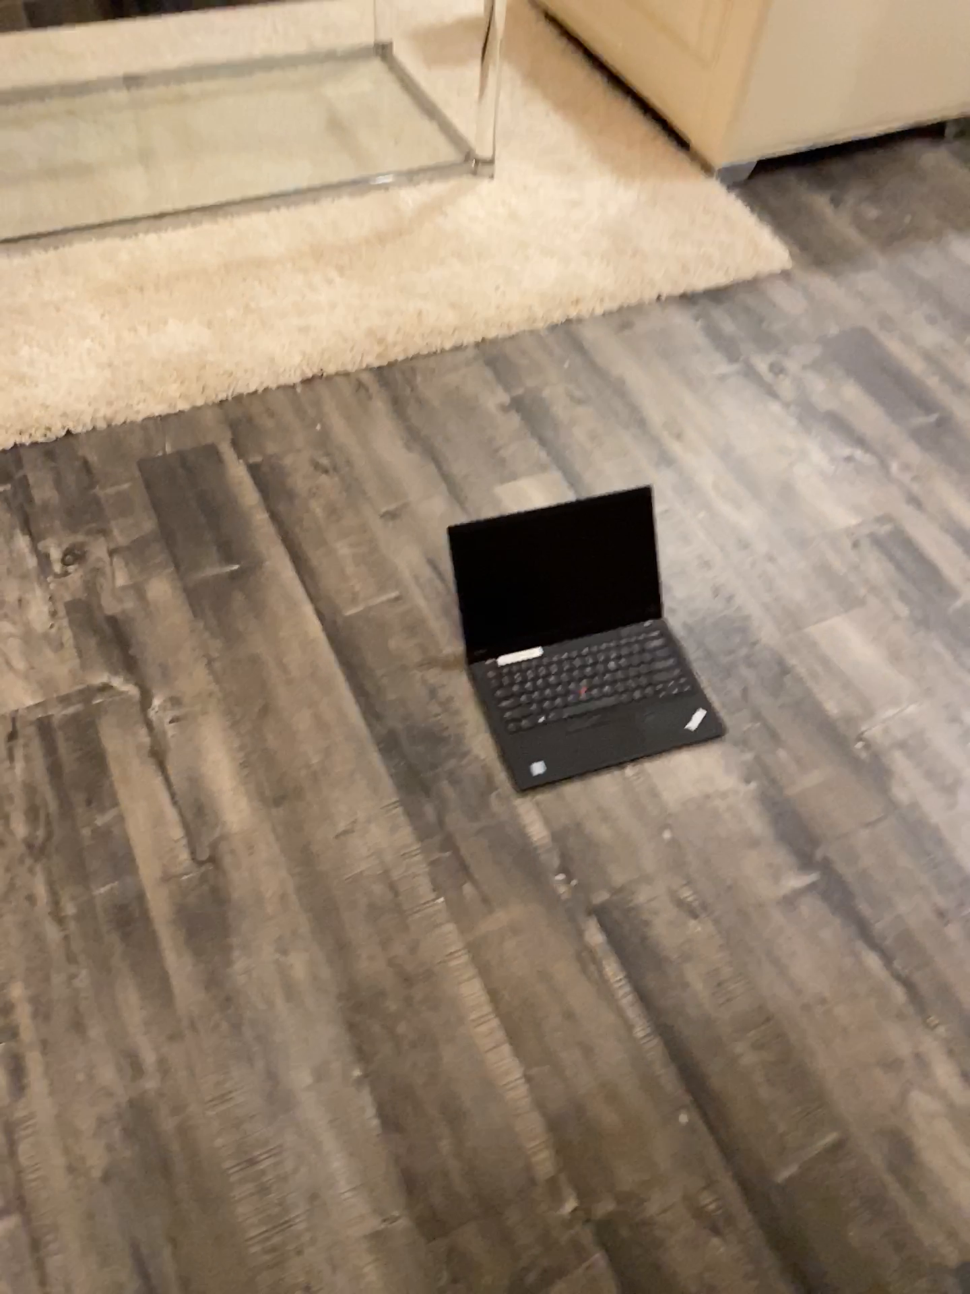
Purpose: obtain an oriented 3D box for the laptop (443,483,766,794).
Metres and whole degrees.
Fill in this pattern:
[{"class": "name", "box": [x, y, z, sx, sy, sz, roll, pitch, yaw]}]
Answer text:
[{"class": "laptop", "box": [0.154, -0.023, 1.407, 0.319, 0.149, 0.356, -13, 60, -16]}]
